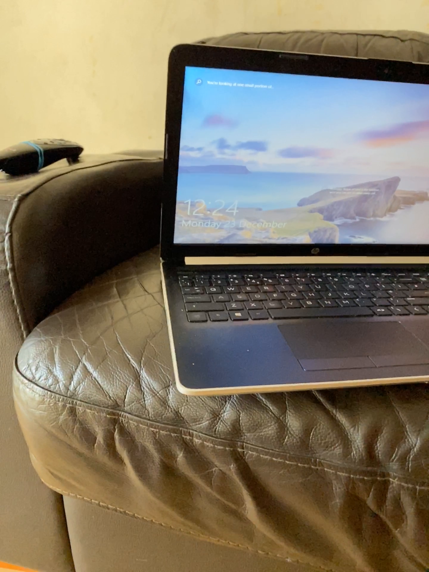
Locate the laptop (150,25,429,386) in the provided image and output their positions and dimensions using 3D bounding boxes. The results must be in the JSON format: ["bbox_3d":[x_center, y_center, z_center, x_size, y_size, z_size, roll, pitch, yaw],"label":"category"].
[{"bbox_3d":[0.140,-0.081,0.396,0.371,0.212,0.238,-2,23,-9],"label":"laptop"}]
